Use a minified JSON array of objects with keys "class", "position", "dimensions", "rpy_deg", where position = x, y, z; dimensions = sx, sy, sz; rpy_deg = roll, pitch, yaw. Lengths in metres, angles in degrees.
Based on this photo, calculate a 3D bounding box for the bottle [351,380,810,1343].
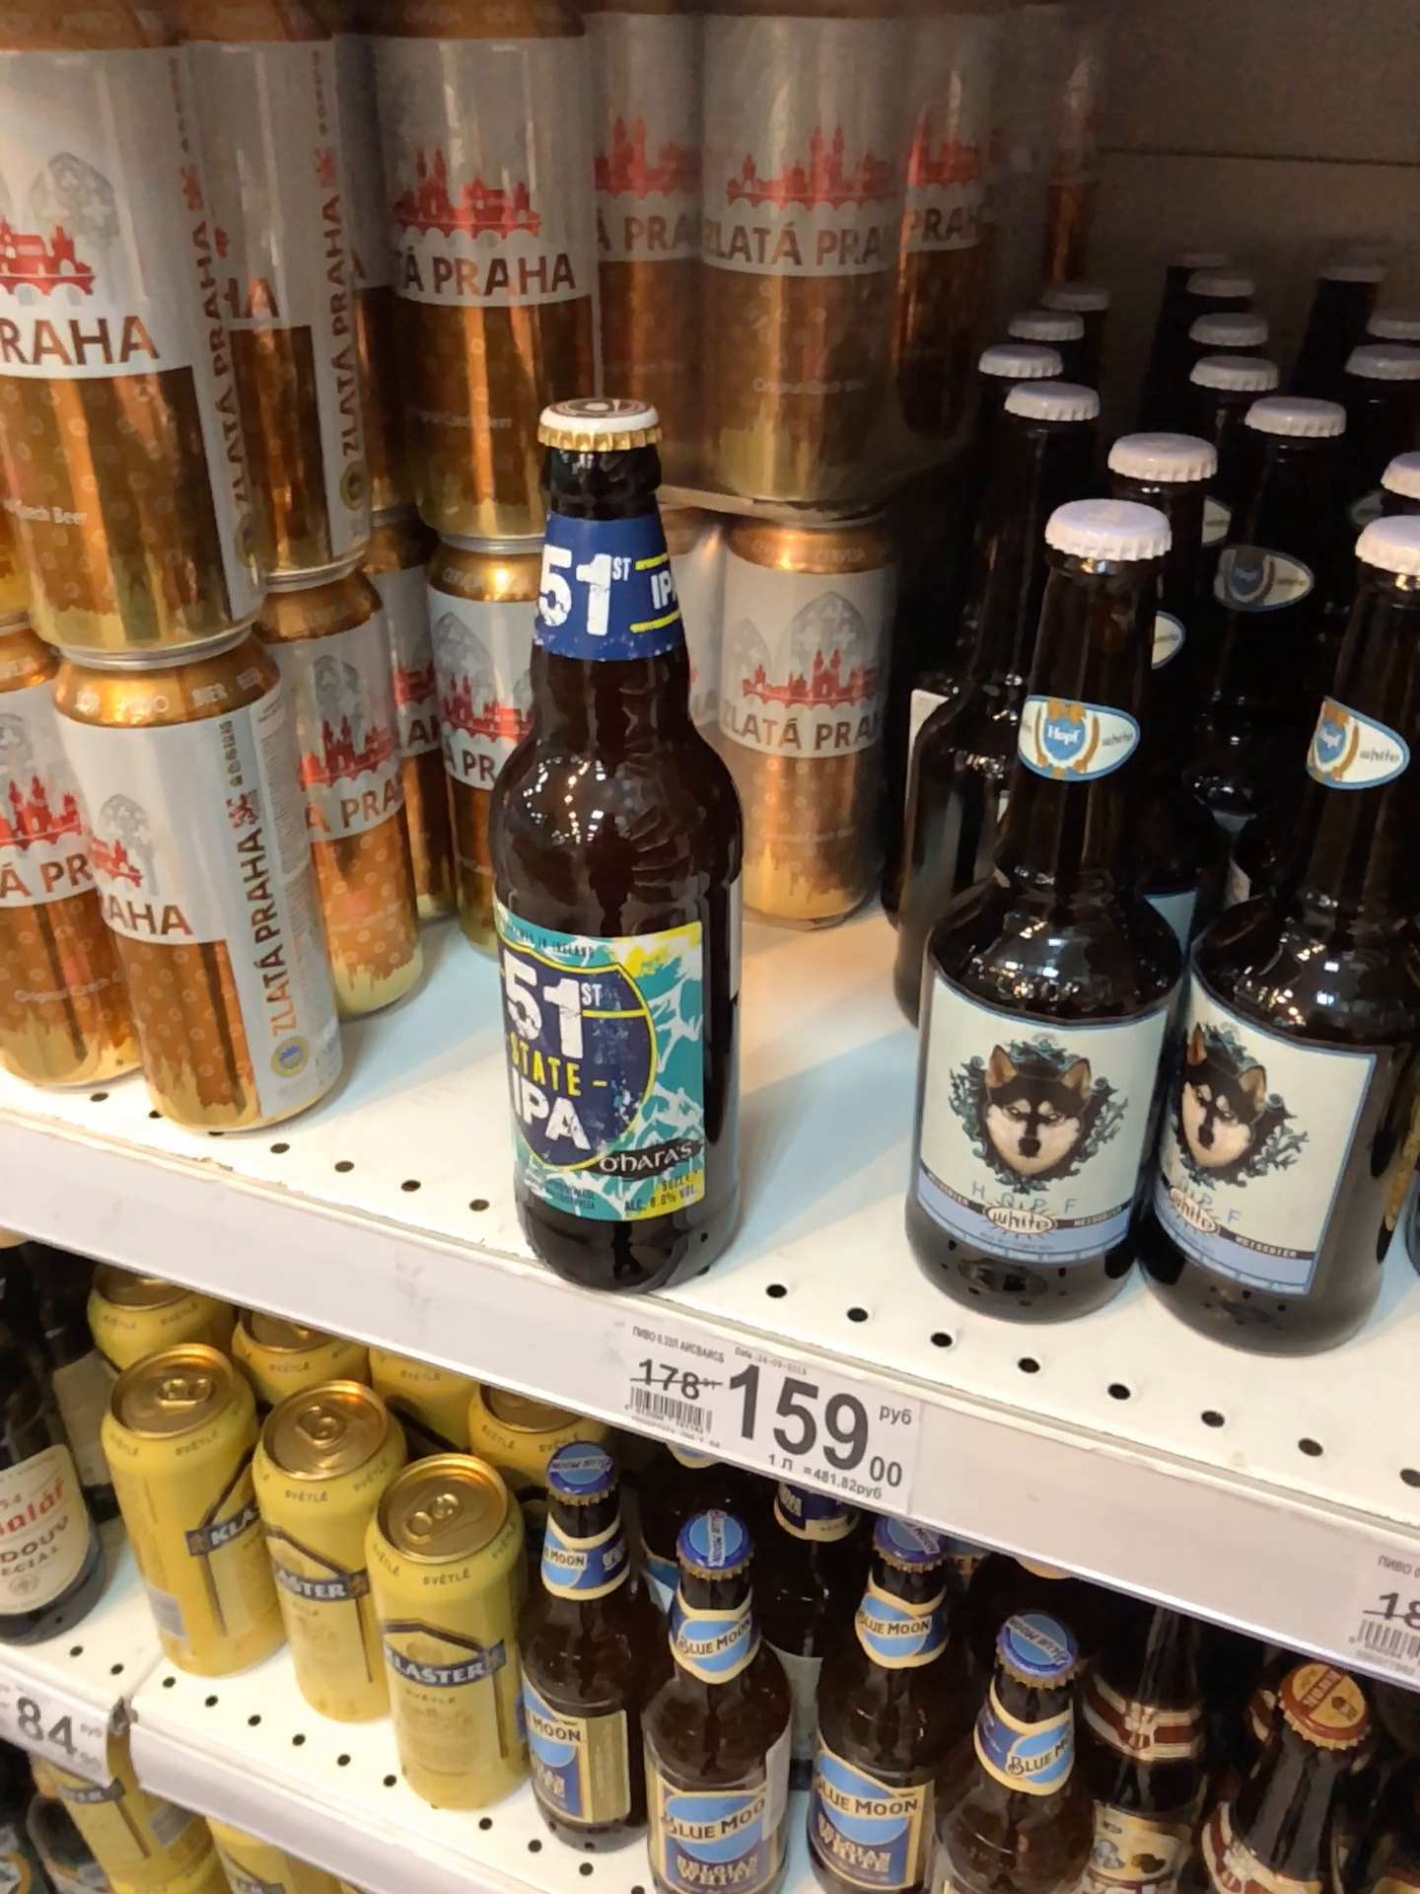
[{"class":"bottle","position":[-0.030,-0.018,0.421],"dimensions":[0.080,0.239,0.070],"rpy_deg":[17,35,26]}]
